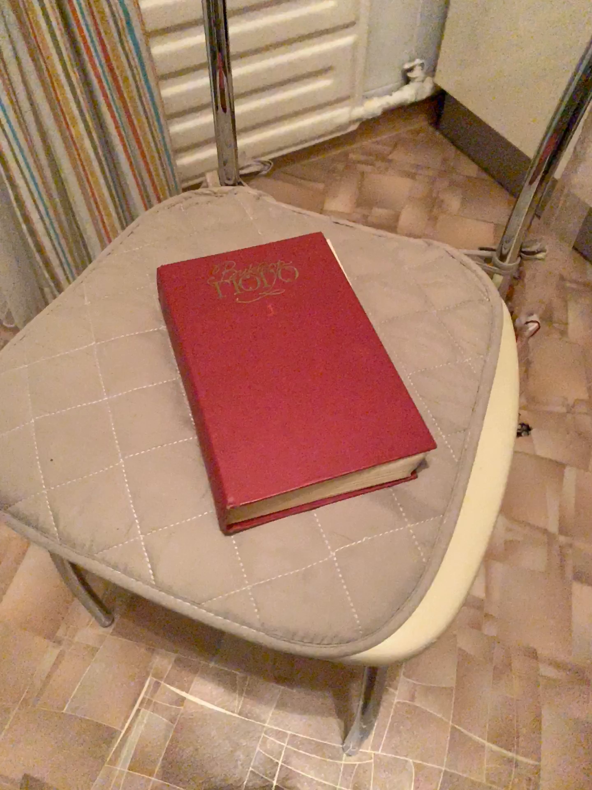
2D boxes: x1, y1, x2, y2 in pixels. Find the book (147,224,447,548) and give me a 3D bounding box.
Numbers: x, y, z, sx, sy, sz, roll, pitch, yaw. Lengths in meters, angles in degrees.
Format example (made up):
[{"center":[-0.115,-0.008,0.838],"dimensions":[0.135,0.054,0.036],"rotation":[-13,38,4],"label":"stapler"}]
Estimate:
[{"center":[-0.010,-0.018,0.422],"dimensions":[0.140,0.060,0.201],"rotation":[-15,57,-11],"label":"book"}]
